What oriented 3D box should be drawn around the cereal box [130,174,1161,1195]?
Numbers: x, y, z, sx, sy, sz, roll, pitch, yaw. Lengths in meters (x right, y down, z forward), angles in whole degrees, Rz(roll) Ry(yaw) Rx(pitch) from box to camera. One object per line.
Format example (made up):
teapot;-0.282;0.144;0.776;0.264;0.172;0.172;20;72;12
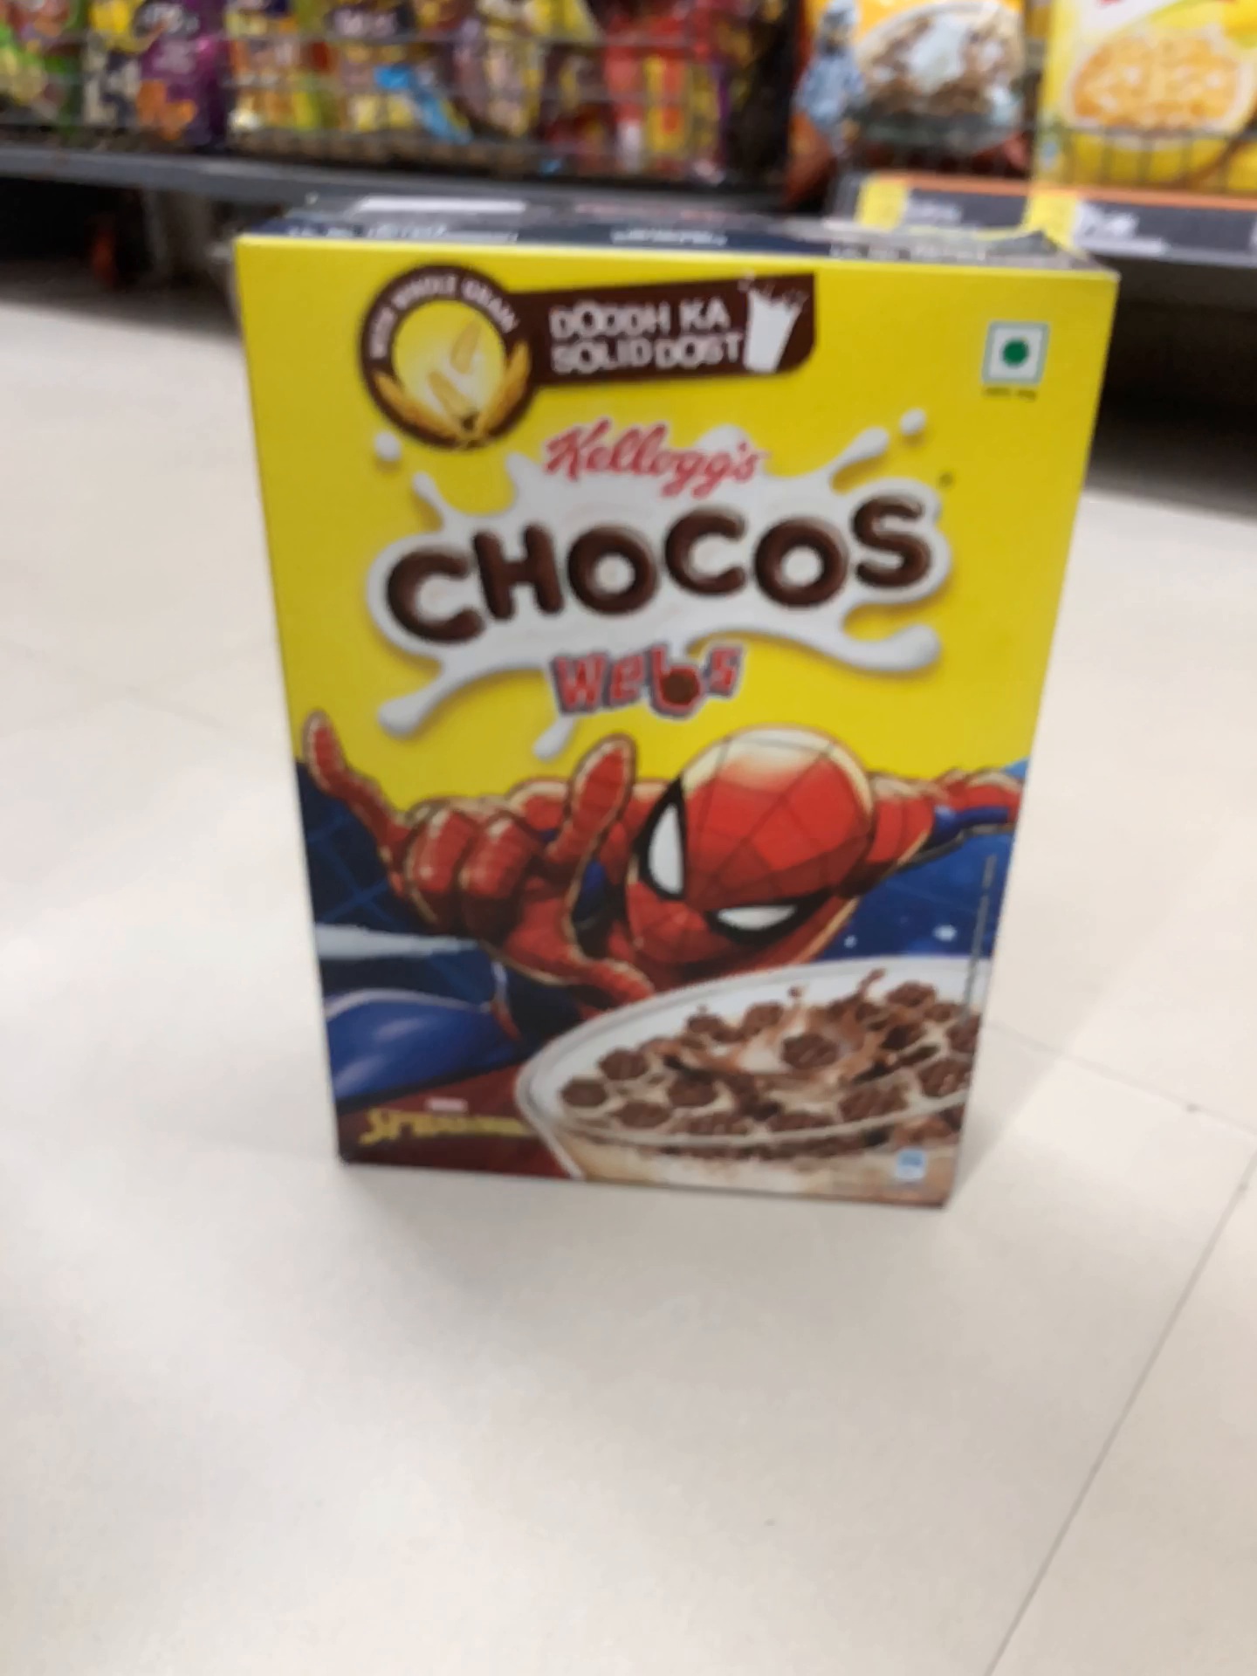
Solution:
cereal box;0.003;-0.032;0.352;0.190;0.229;0.080;3;30;4
